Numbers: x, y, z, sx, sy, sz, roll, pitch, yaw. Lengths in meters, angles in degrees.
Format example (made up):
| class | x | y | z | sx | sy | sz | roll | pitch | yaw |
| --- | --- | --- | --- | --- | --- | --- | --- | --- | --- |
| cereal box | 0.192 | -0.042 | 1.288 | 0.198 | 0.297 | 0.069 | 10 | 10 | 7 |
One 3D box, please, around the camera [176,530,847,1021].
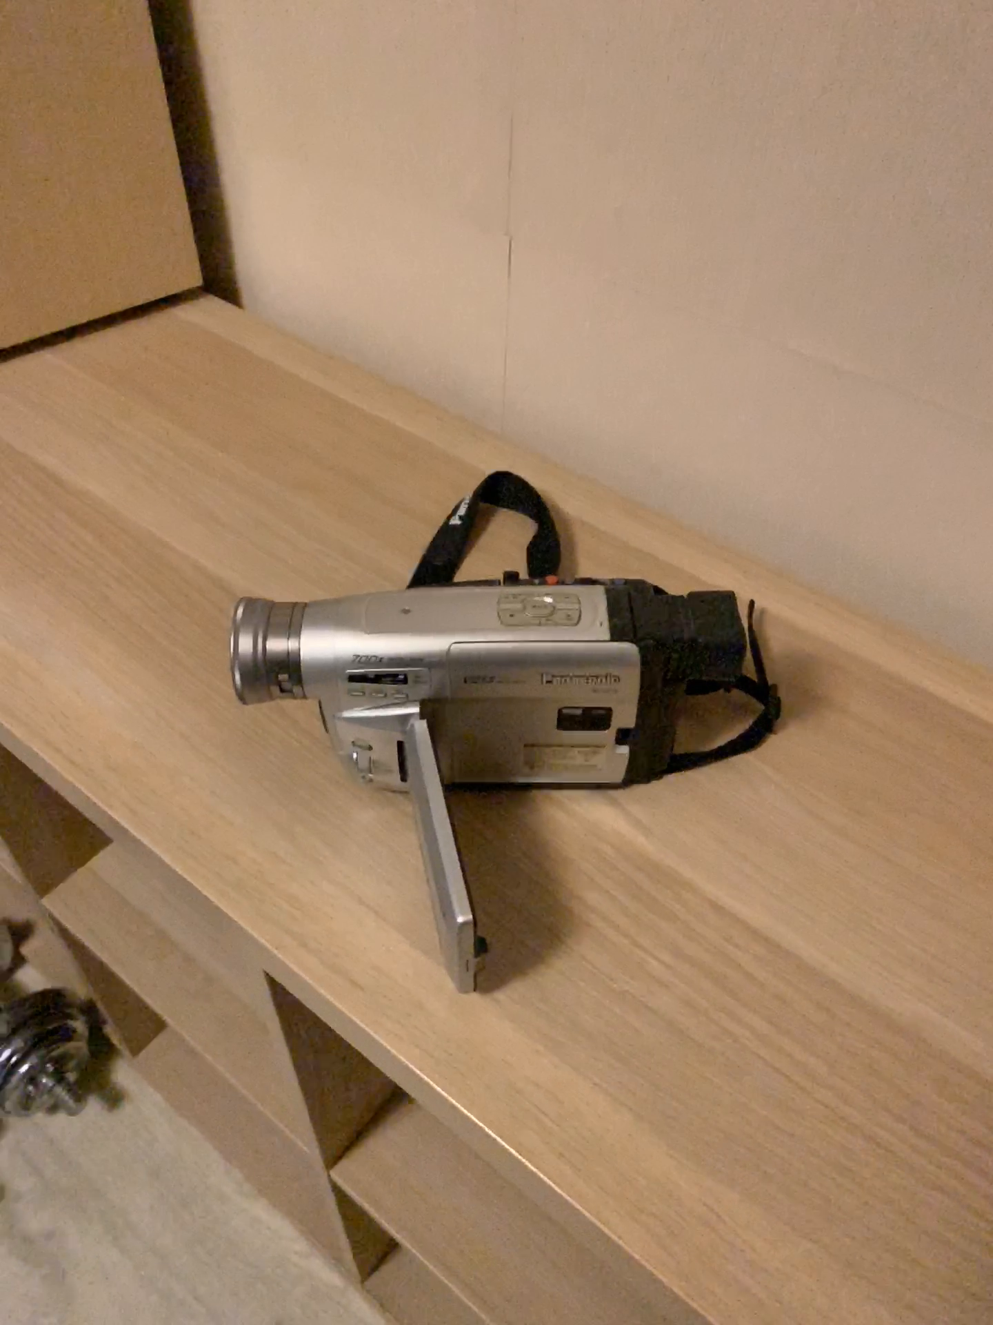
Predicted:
| class | x | y | z | sx | sy | sz | roll | pitch | yaw |
| --- | --- | --- | --- | --- | --- | --- | --- | --- | --- |
| camera | 0.002 | 0.045 | 0.481 | 0.245 | 0.109 | 0.204 | 0 | 46 | -3 |
